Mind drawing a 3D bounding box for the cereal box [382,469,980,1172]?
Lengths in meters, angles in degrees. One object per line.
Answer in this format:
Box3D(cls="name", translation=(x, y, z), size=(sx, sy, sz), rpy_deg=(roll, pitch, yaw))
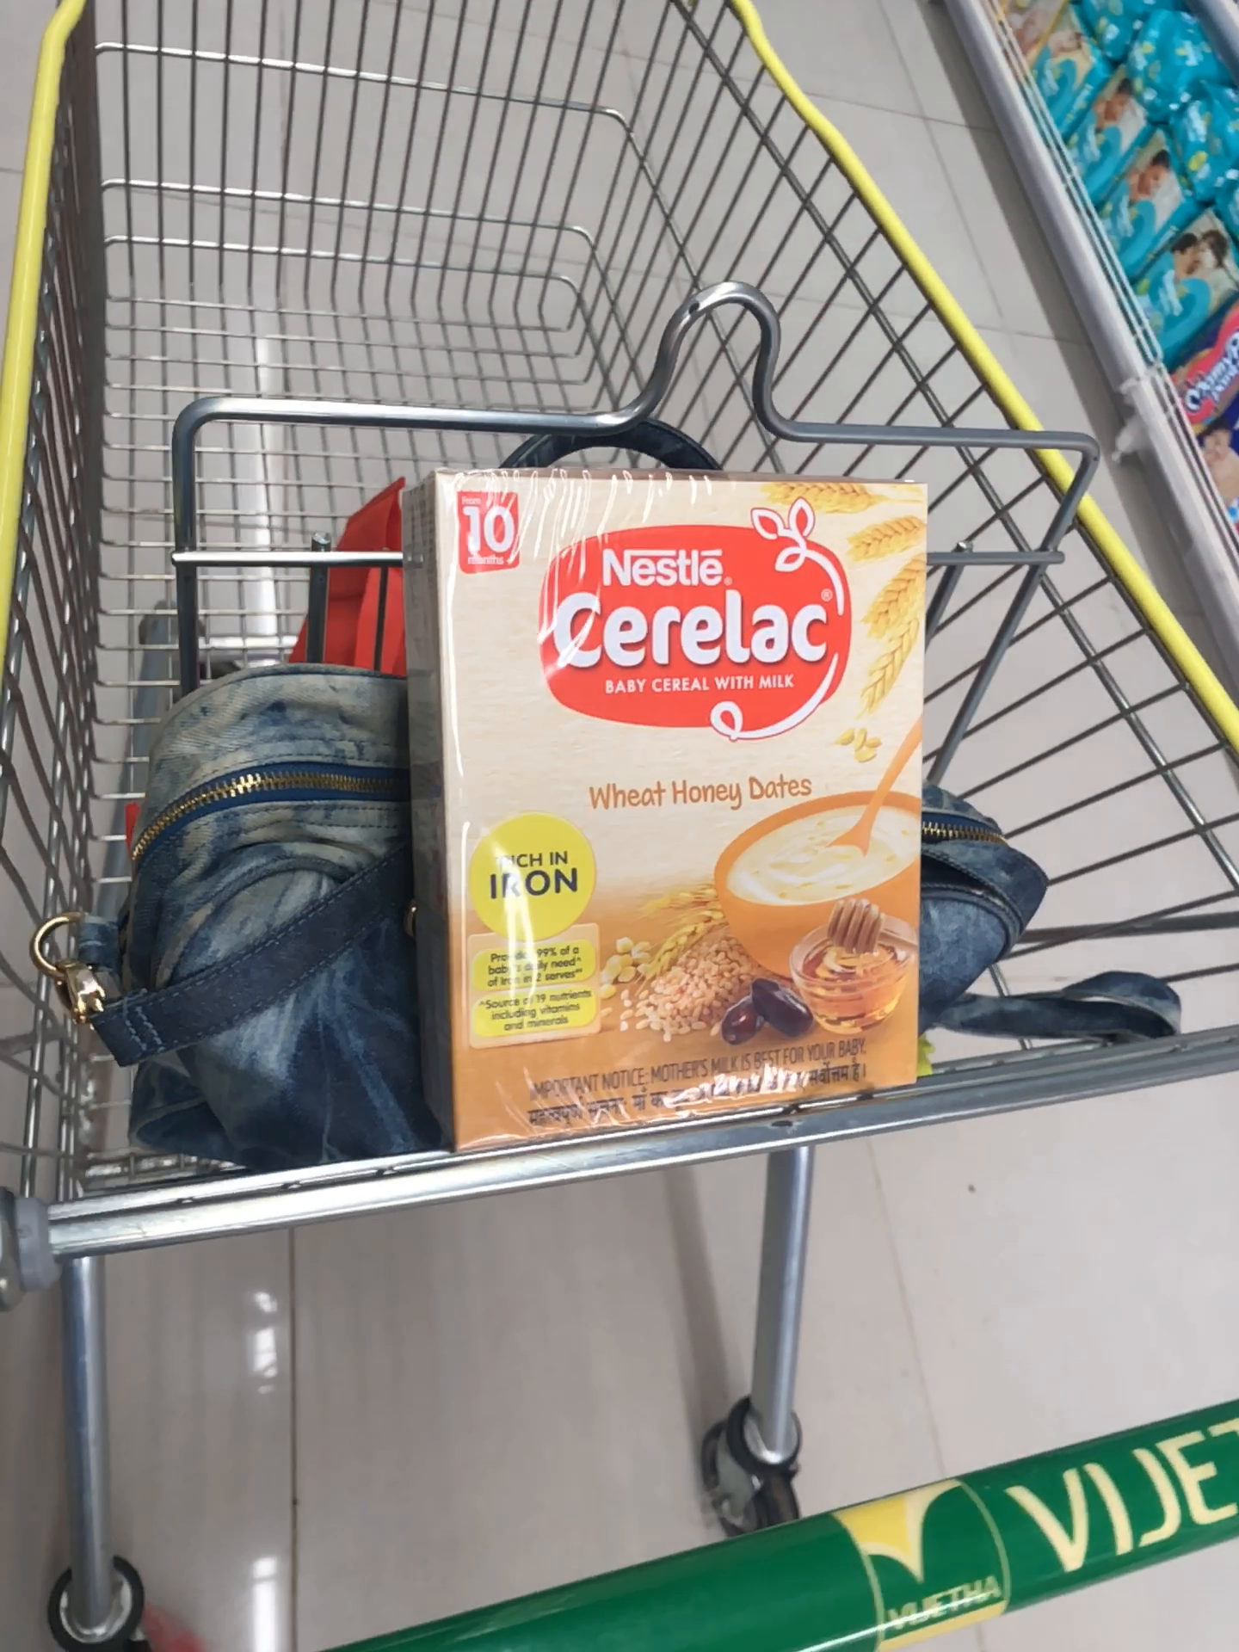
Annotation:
Box3D(cls="cereal box", translation=(0.022, -0.008, 0.426), size=(0.170, 0.060, 0.190), rpy_deg=(-4, 98, -21))
